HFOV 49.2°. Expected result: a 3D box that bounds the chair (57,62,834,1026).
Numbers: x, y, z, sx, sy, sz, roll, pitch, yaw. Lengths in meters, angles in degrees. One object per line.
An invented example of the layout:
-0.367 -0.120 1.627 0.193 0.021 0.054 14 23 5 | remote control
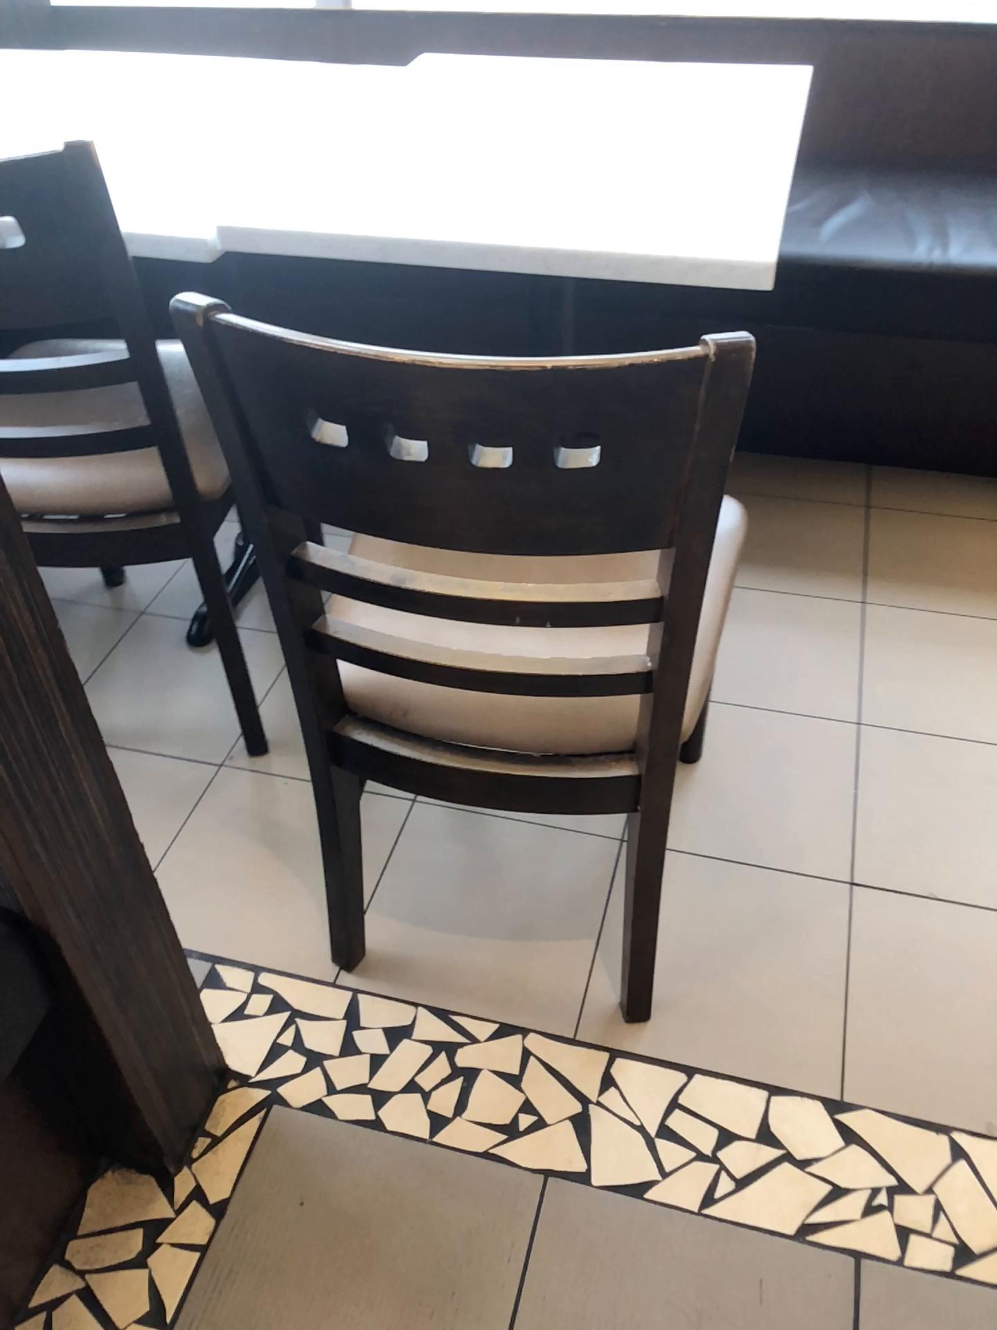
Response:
0.024 -0.127 1.101 0.470 0.715 0.574 9 44 12 | chair
